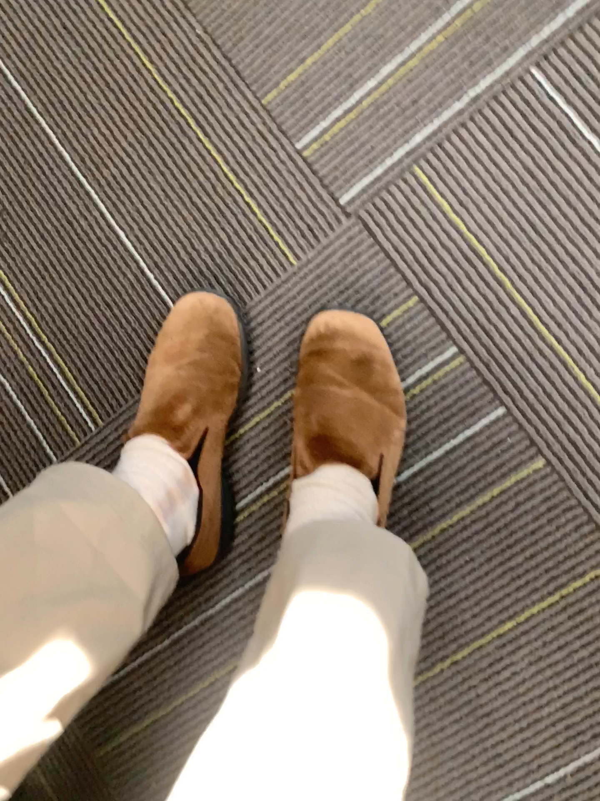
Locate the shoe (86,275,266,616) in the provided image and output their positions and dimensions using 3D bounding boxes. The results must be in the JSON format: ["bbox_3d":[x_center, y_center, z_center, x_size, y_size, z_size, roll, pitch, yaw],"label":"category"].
[{"bbox_3d":[-0.124,0.040,0.617,0.119,0.077,0.307,9,95,14],"label":"shoe"}]

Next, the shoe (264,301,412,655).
[{"bbox_3d":[0.038,0.065,0.579,0.120,0.077,0.307,2,93,15],"label":"shoe"}]
